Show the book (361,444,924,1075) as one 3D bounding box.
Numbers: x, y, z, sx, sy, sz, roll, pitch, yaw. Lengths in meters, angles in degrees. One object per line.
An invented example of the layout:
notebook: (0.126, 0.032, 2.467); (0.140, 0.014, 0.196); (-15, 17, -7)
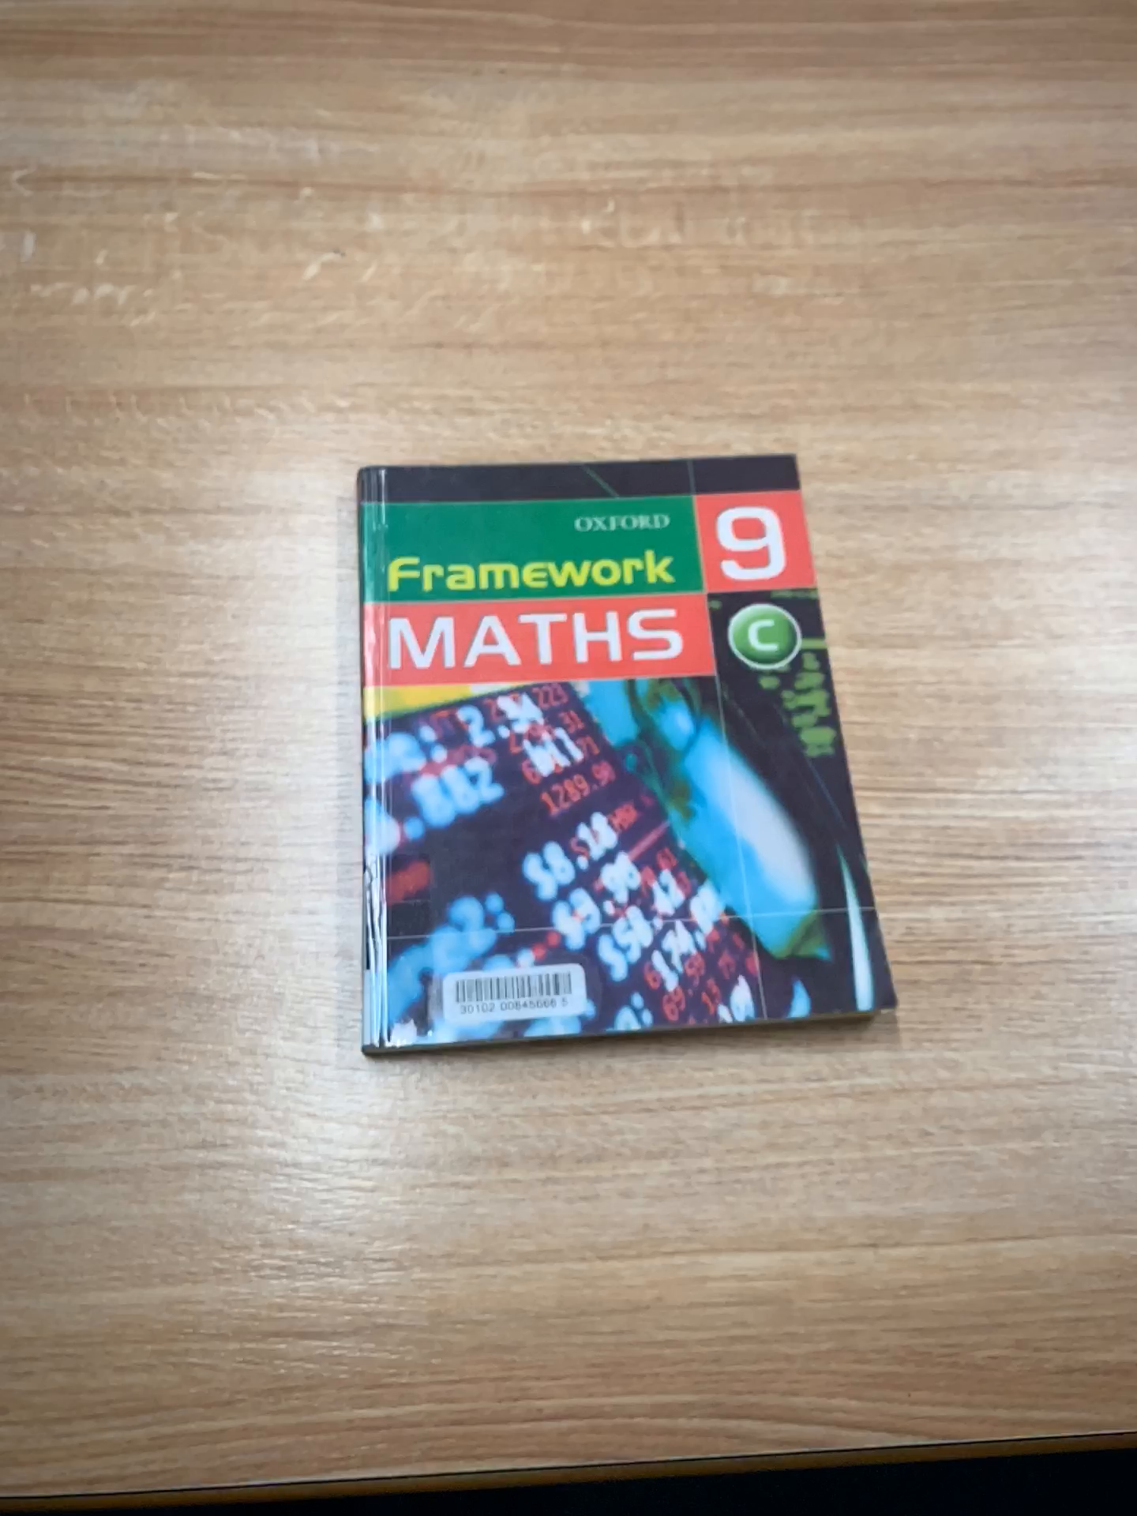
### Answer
book: (0.019, -0.011, 0.456); (0.190, 0.020, 0.244); (-3, 68, -5)
